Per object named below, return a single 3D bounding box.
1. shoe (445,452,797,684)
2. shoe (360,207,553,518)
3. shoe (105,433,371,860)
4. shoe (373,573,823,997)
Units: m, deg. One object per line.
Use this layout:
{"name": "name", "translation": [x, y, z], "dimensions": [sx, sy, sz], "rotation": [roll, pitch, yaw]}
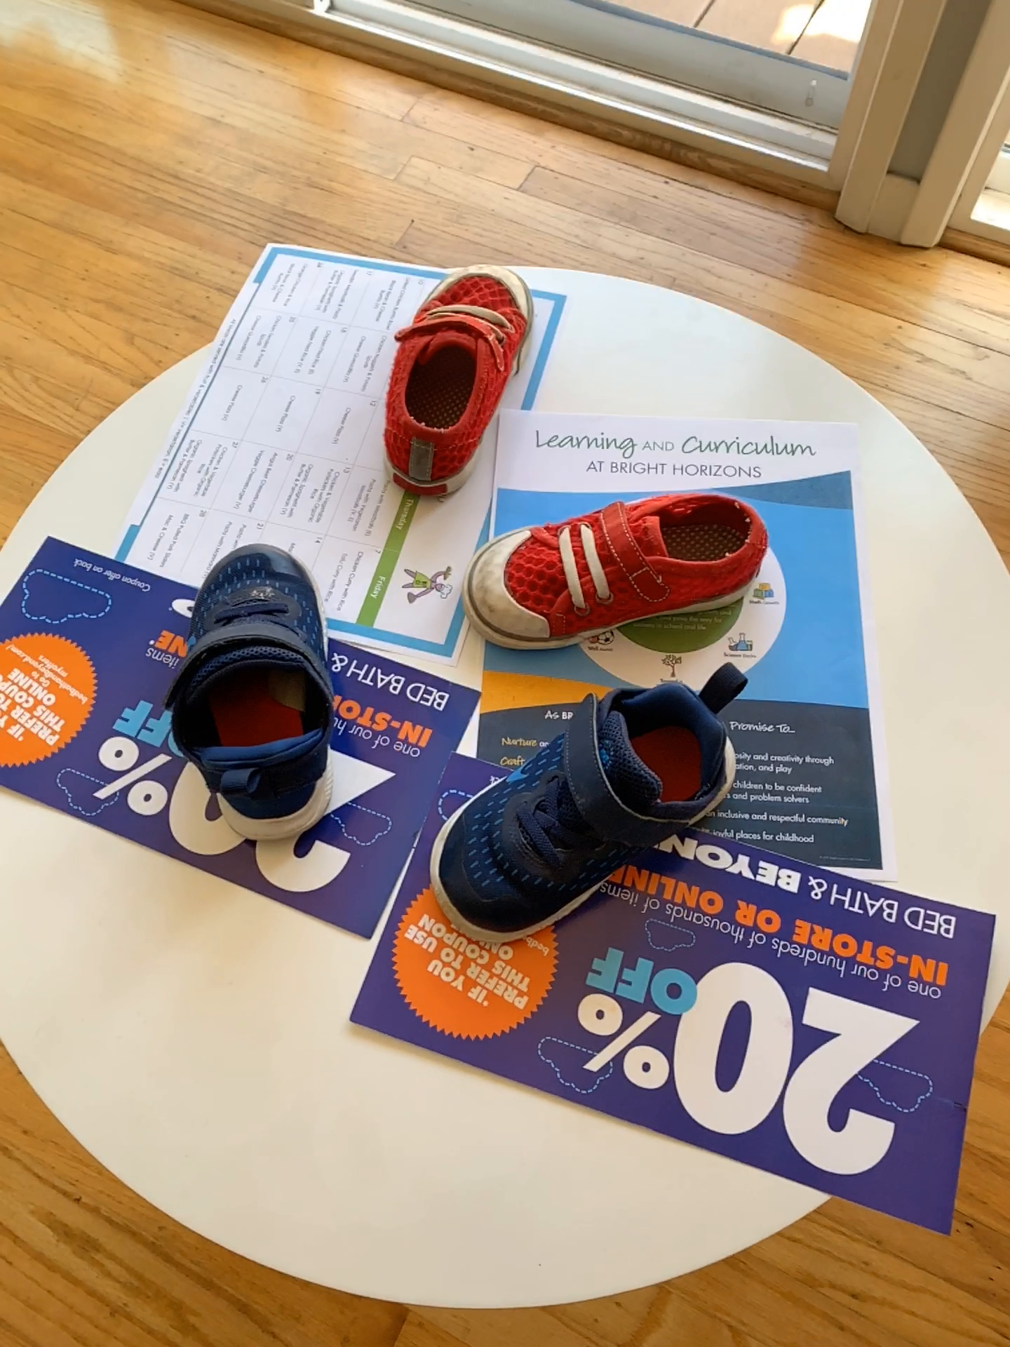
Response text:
{"name": "shoe", "translation": [0.056, -0.053, 0.532], "dimensions": [0.160, 0.070, 0.060], "rotation": [-12, 65, -4]}
{"name": "shoe", "translation": [-0.023, -0.182, 0.599], "dimensions": [0.070, 0.070, 0.160], "rotation": [11, 66, 7]}
{"name": "shoe", "translation": [-0.118, -0.010, 0.461], "dimensions": [0.080, 0.100, 0.150], "rotation": [-11, 65, -3]}
{"name": "shoe", "translation": [0.039, 0.051, 0.447], "dimensions": [0.160, 0.100, 0.080], "rotation": [-34, 68, -13]}
